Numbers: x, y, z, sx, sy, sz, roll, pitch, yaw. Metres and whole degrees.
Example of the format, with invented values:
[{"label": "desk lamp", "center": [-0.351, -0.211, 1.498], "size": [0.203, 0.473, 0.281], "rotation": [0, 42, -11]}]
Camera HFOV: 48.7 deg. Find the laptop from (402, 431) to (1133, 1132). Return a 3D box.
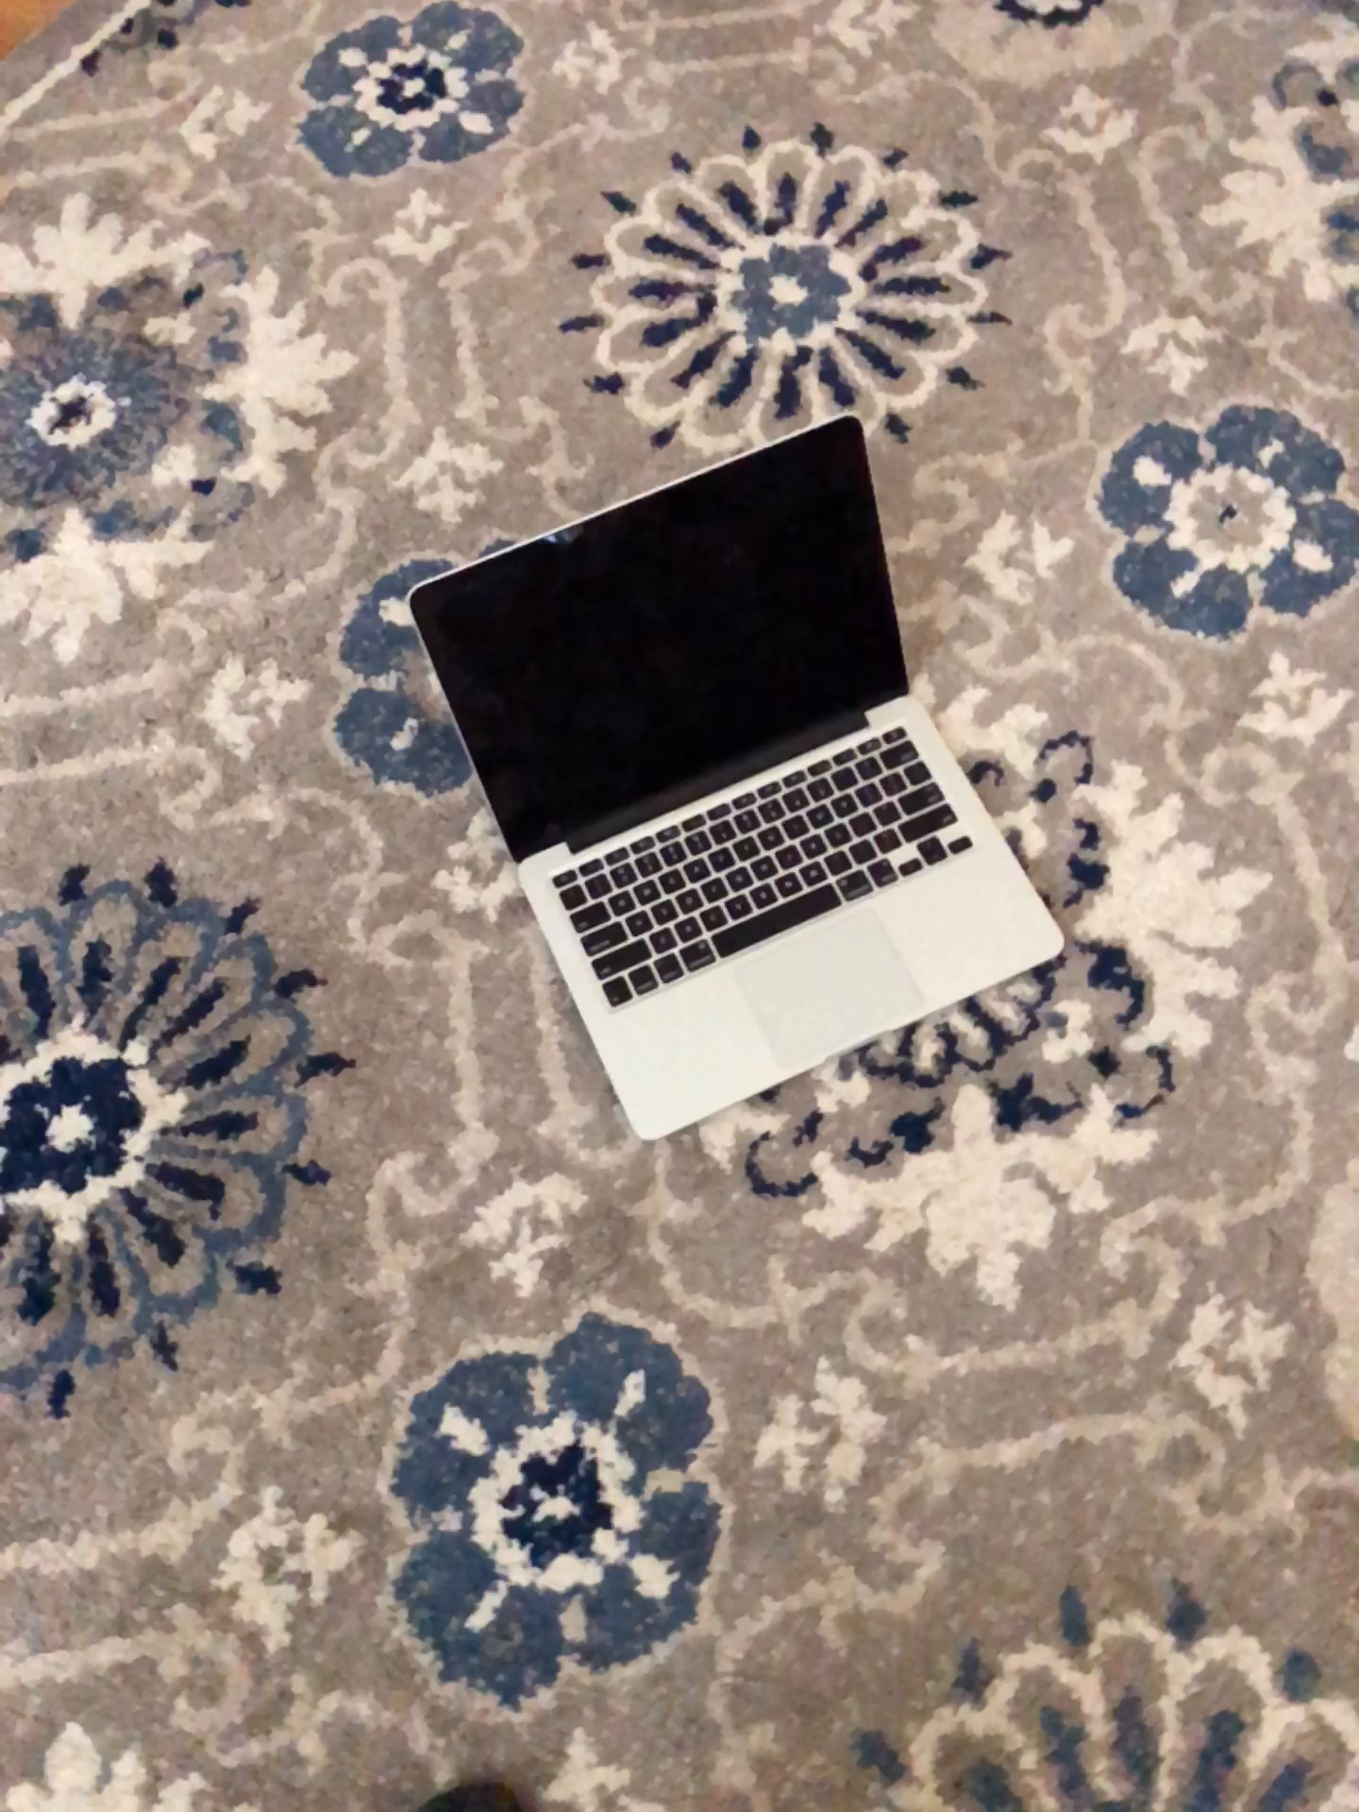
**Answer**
[{"label": "laptop", "center": [0.044, -0.079, 0.940], "size": [0.300, 0.171, 0.322], "rotation": [-24, 67, -9]}]
